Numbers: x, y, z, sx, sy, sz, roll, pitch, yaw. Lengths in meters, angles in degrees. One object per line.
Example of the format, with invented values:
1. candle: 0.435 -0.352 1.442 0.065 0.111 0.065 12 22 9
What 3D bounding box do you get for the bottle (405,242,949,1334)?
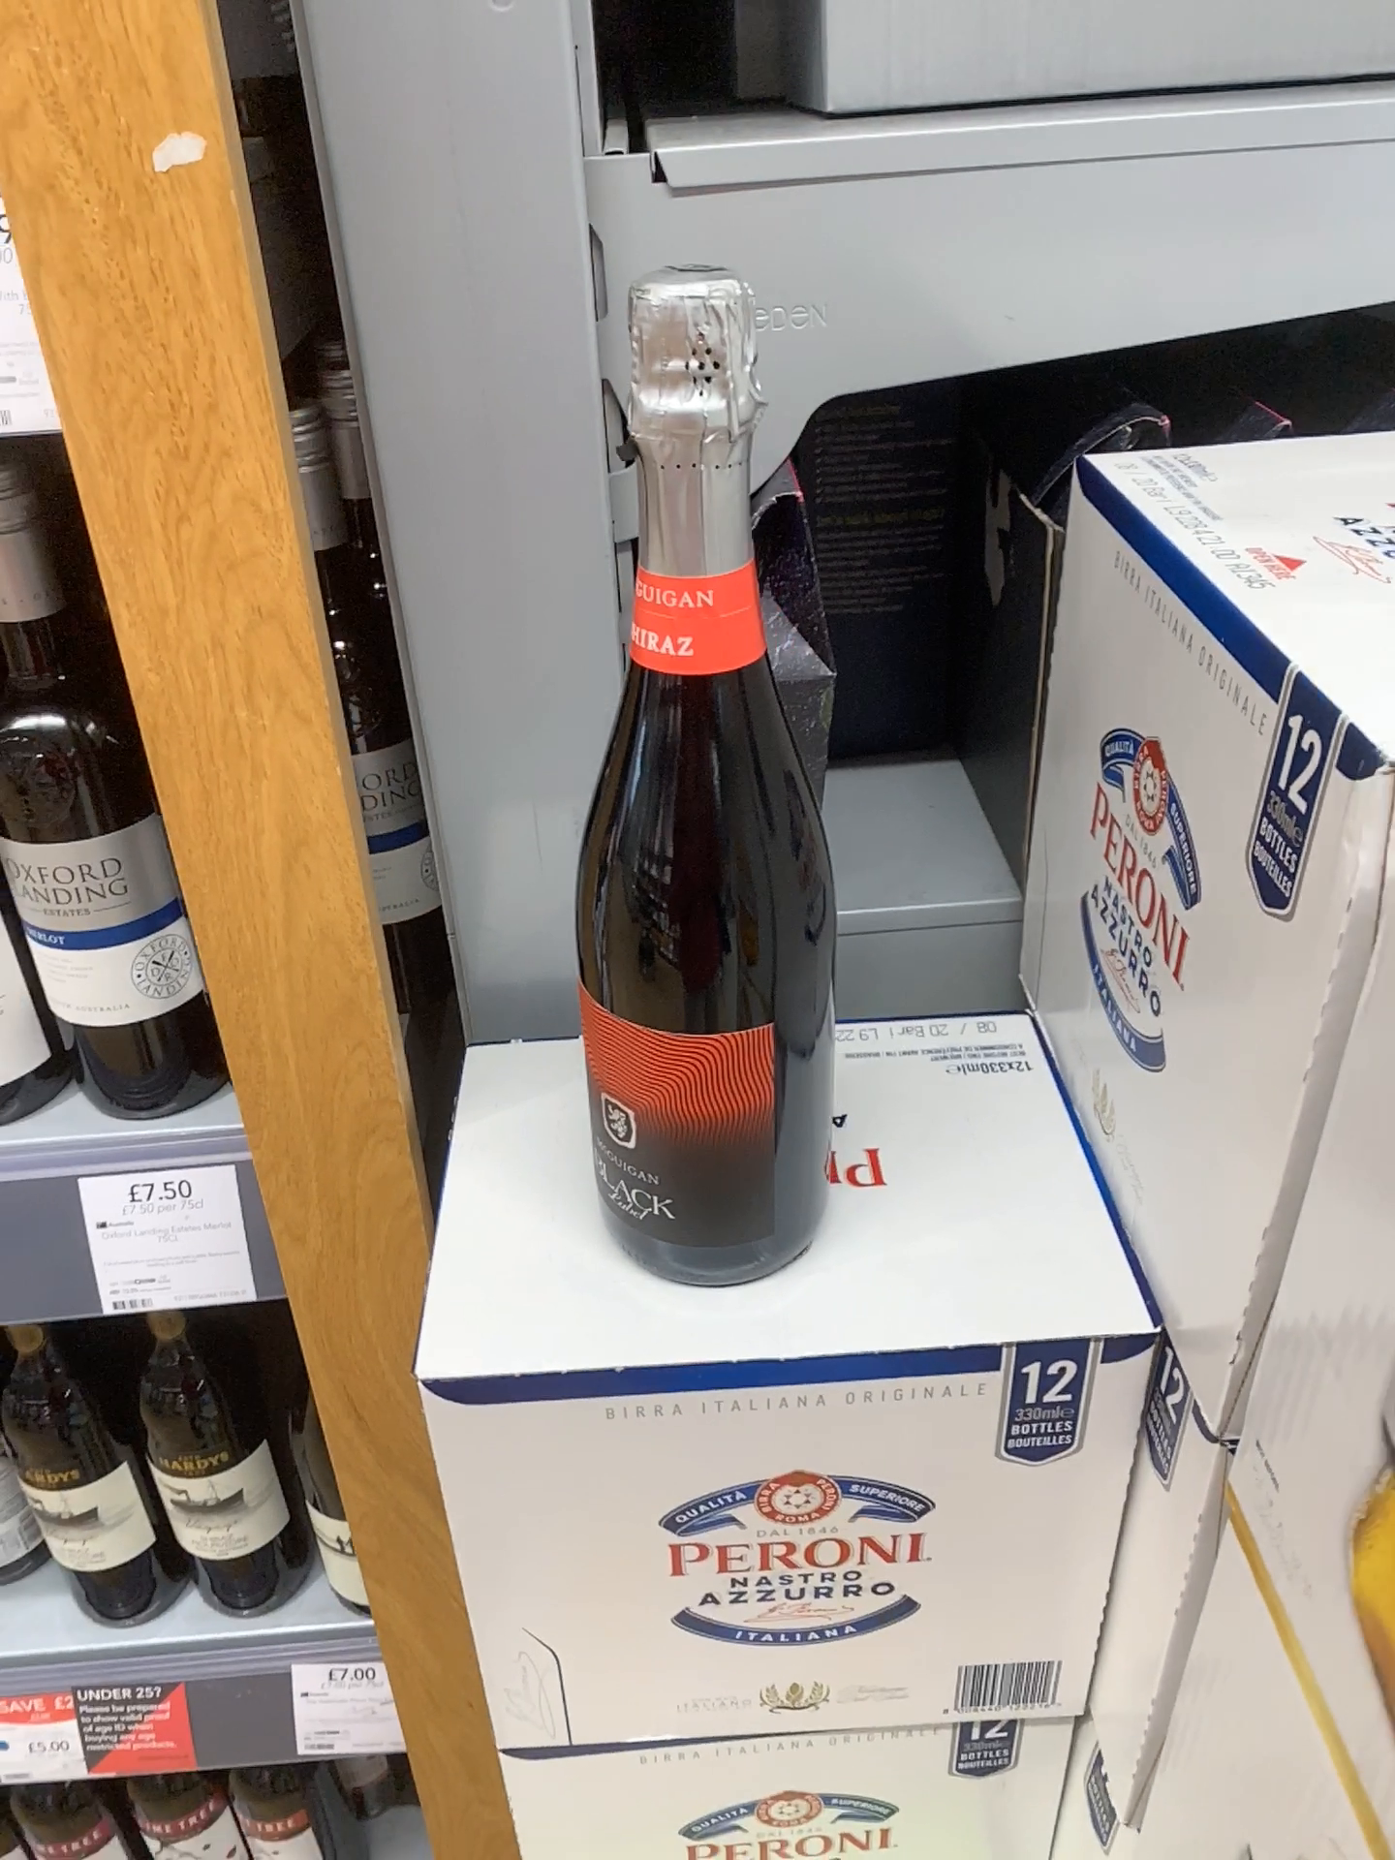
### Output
1. bottle: 0.002 -0.033 0.418 0.090 0.289 0.094 -2 32 1
